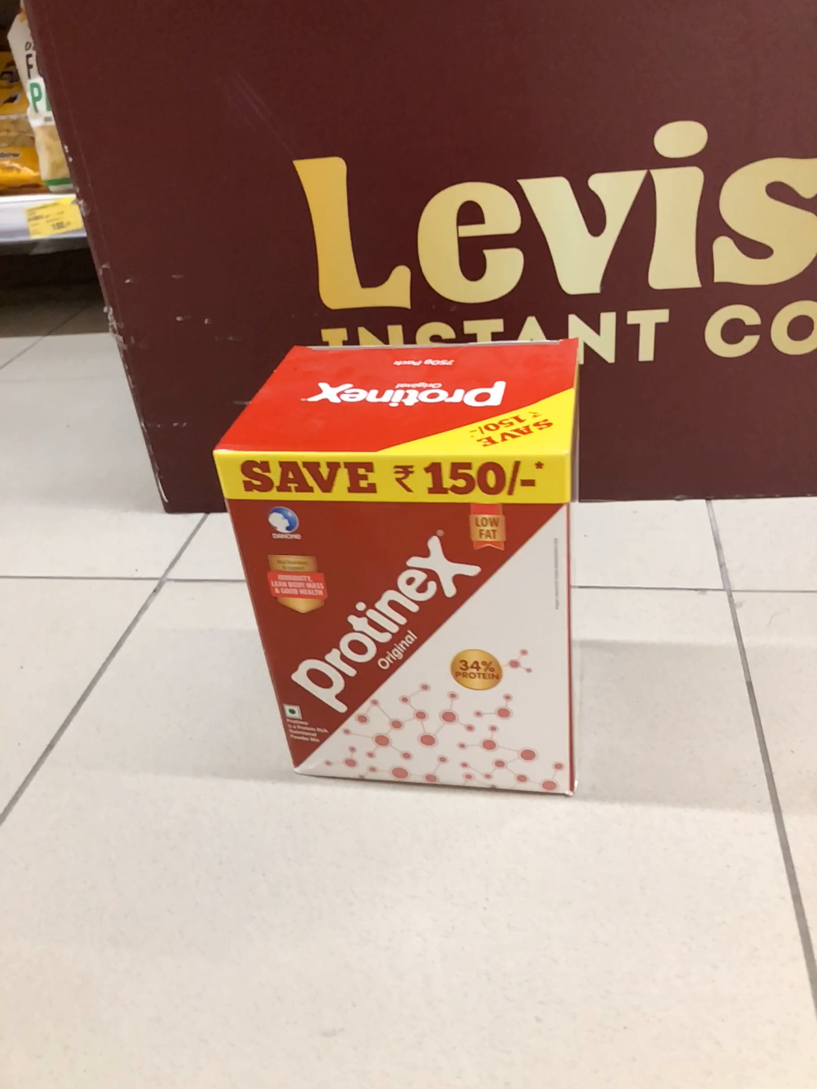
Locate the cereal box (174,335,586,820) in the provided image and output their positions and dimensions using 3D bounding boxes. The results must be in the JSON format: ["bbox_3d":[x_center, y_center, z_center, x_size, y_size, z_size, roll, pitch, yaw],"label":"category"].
[{"bbox_3d":[0.005,0.015,0.450,0.160,0.199,0.121,1,33,12],"label":"cereal box"}]
